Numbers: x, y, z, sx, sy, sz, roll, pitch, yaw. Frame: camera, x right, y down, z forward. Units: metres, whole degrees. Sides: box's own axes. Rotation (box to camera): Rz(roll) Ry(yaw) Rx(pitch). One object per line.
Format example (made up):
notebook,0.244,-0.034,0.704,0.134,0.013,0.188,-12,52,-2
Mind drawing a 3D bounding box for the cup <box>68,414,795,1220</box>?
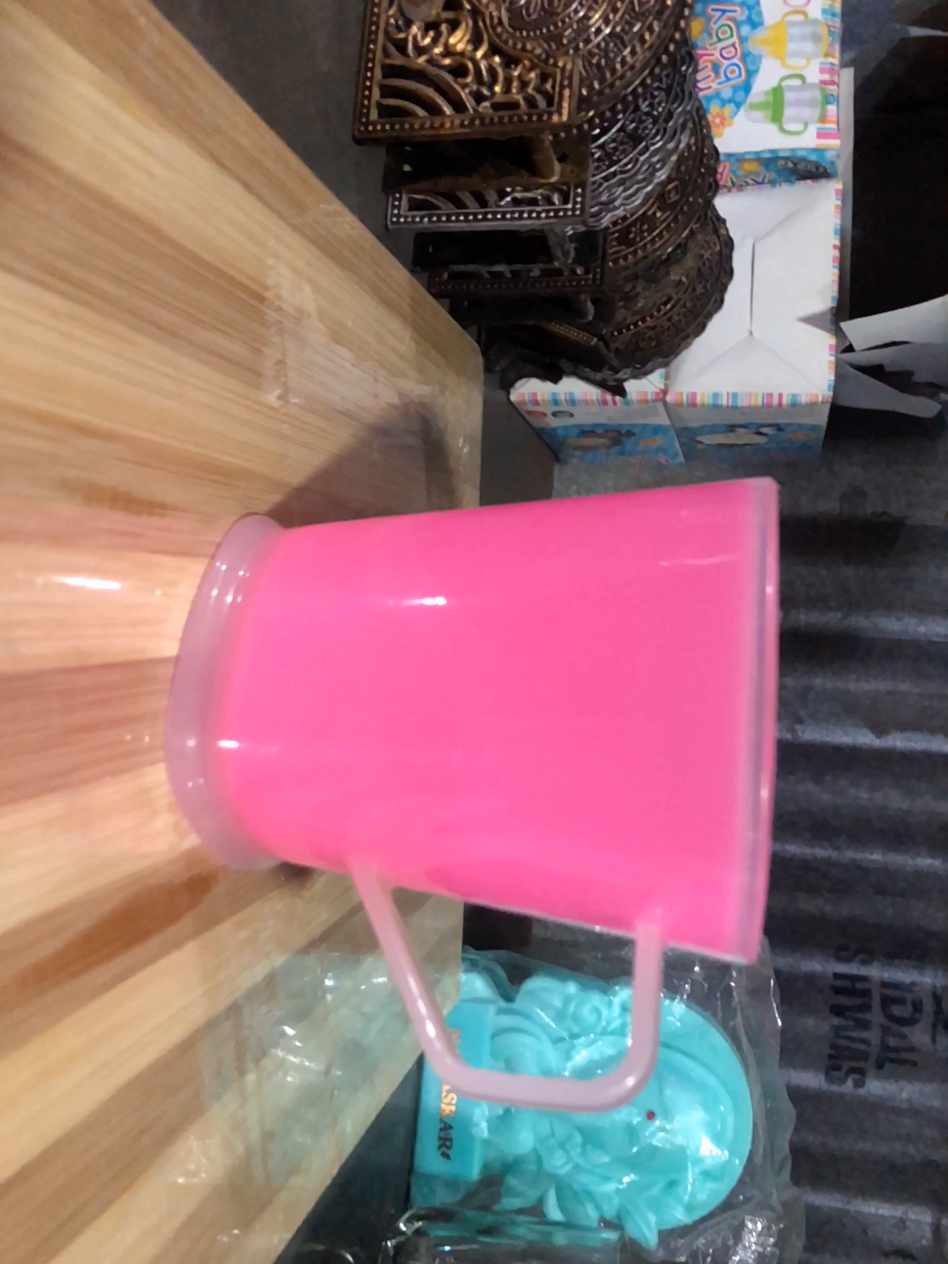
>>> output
cup,0.004,0.030,0.197,0.070,0.100,0.120,66,30,-65
